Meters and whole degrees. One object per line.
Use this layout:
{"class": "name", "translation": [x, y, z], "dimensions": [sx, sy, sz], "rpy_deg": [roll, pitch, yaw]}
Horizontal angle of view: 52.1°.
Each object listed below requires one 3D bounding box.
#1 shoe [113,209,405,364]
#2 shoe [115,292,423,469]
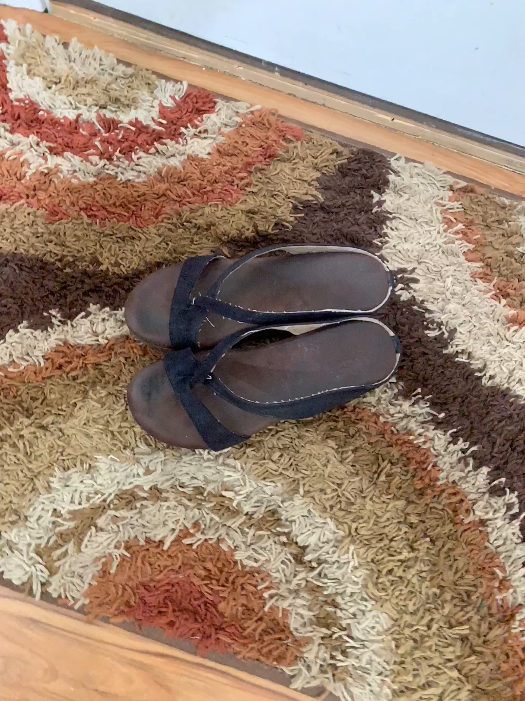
{"class": "shoe", "translation": [-0.004, -0.054, 0.457], "dimensions": [0.223, 0.052, 0.084], "rpy_deg": [-10, 76, -7]}
{"class": "shoe", "translation": [0.004, 0.025, 0.443], "dimensions": [0.222, 0.062, 0.090], "rpy_deg": [-12, 76, -7]}
